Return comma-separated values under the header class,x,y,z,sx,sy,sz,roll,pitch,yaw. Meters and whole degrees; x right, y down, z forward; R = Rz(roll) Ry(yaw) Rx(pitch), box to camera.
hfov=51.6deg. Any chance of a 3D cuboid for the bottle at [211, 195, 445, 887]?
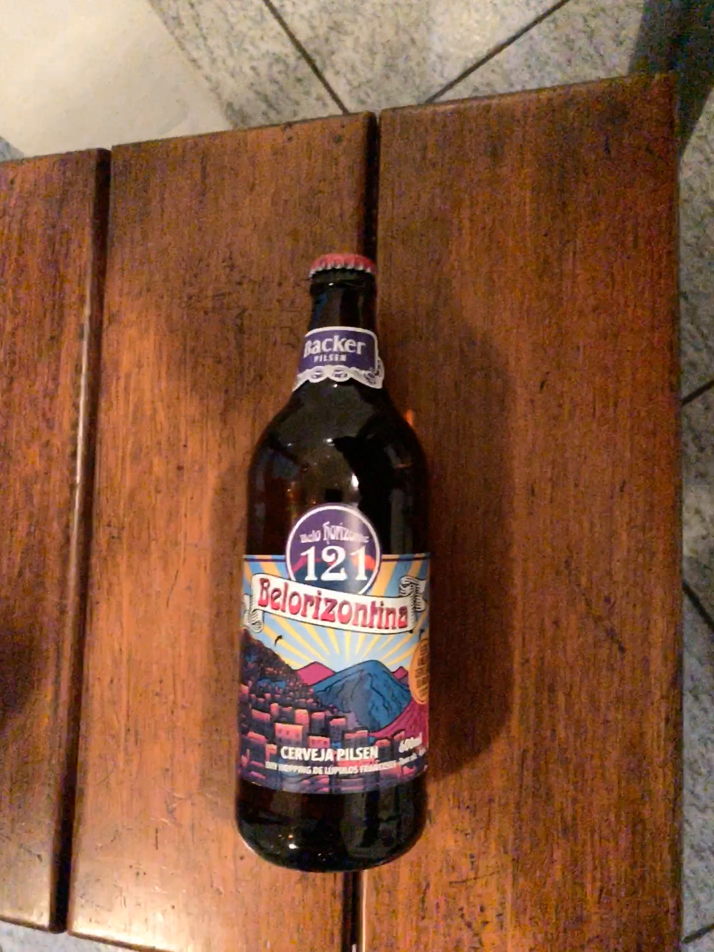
class,x,y,z,sx,sy,sz,roll,pitch,yaw
bottle,-0.009,0.021,0.286,0.080,0.050,0.240,-1,85,5
